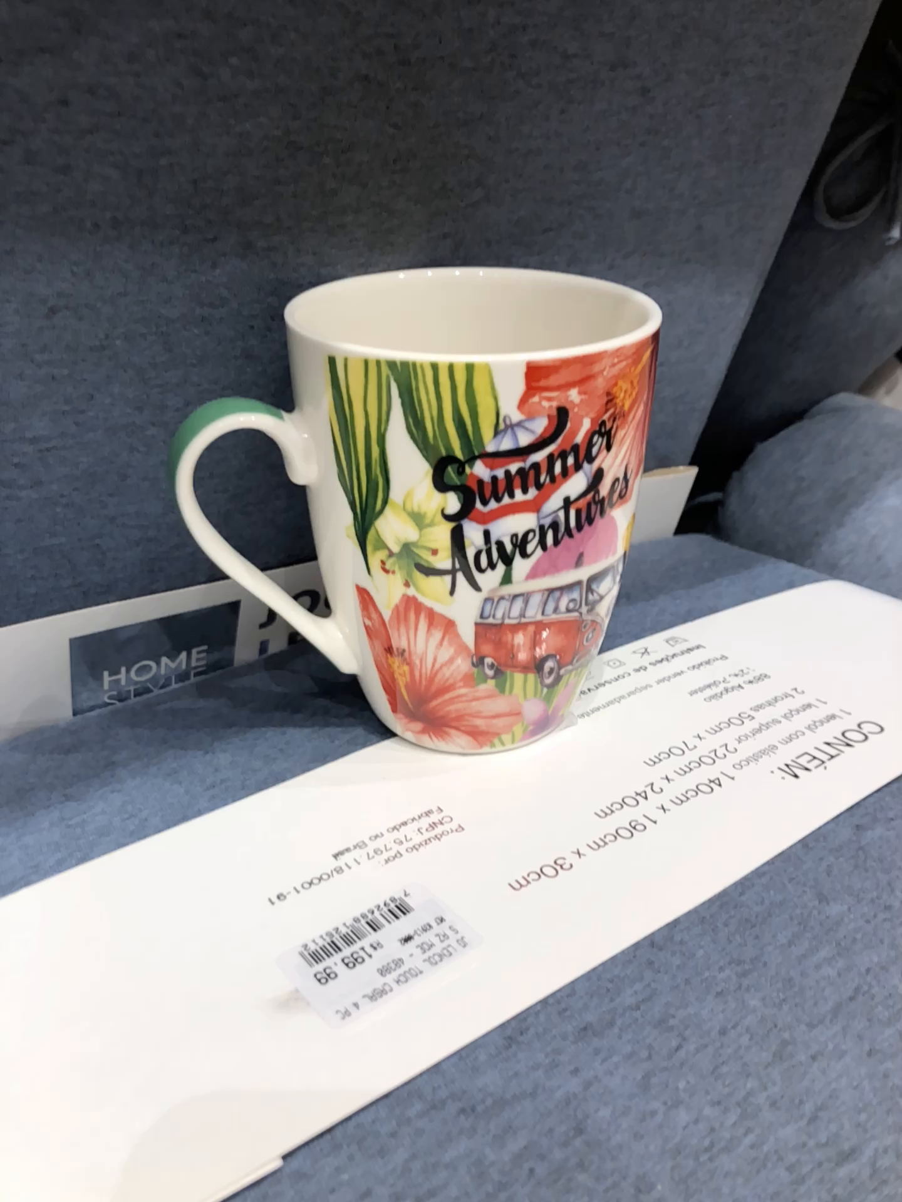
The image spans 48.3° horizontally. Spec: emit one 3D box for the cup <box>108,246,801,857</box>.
[{"bbox_3d":[-0.001,-0.024,0.224,0.110,0.090,0.090,-16,29,-29],"label":"cup"}]
